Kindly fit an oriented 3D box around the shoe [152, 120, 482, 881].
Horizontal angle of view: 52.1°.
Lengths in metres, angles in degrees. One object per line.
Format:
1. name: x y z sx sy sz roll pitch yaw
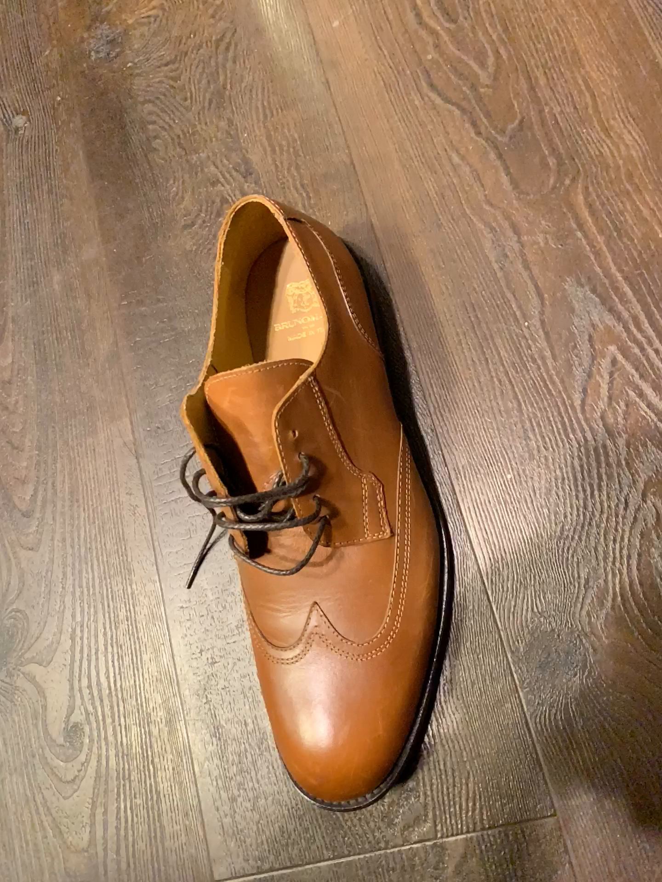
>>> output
1. shoe: -0.008 0.022 0.348 0.120 0.110 0.321 -8 75 14
